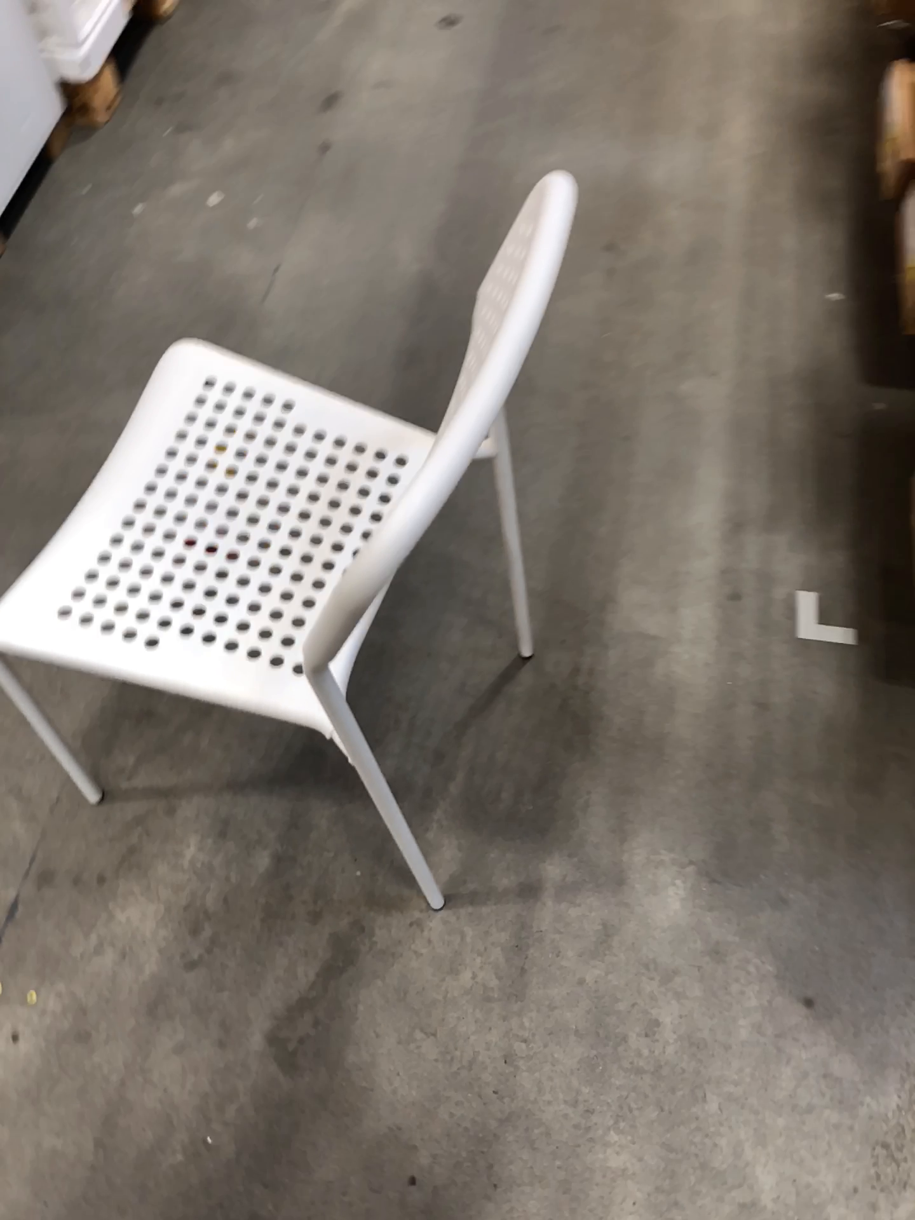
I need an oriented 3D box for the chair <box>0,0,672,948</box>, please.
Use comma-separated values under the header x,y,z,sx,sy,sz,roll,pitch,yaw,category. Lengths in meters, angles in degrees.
x,y,z,sx,sy,sz,roll,pitch,yaw,category
-0.167,-0.068,0.946,0.510,0.699,0.461,19,63,11,chair
